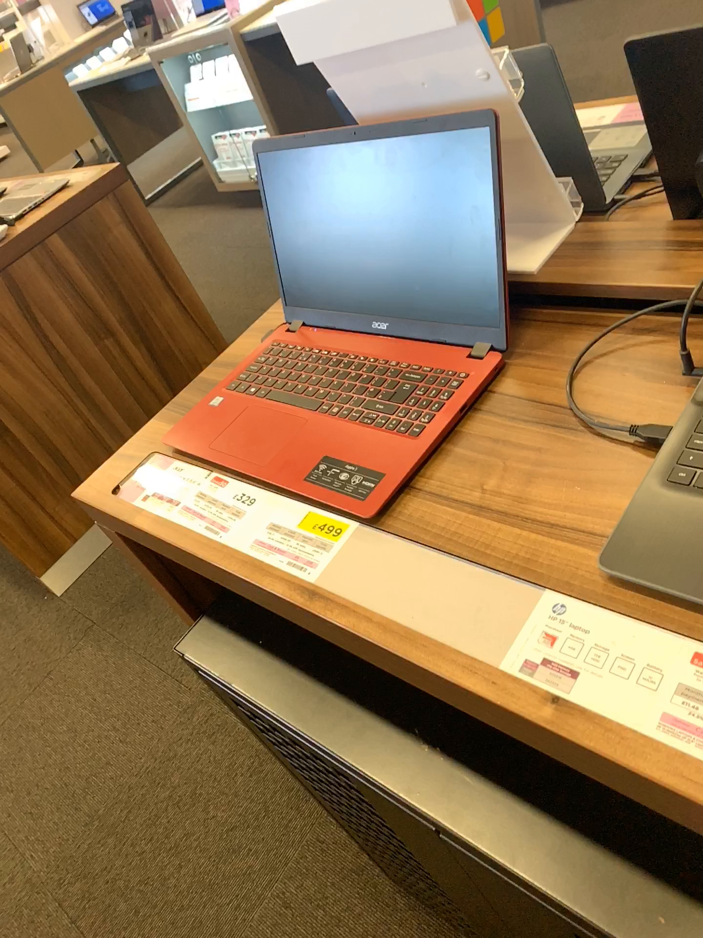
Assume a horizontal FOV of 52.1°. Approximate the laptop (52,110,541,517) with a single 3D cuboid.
[{"bbox_3d":[-0.055,-0.180,0.773,0.358,0.213,0.322,17,56,42],"label":"laptop"}]
